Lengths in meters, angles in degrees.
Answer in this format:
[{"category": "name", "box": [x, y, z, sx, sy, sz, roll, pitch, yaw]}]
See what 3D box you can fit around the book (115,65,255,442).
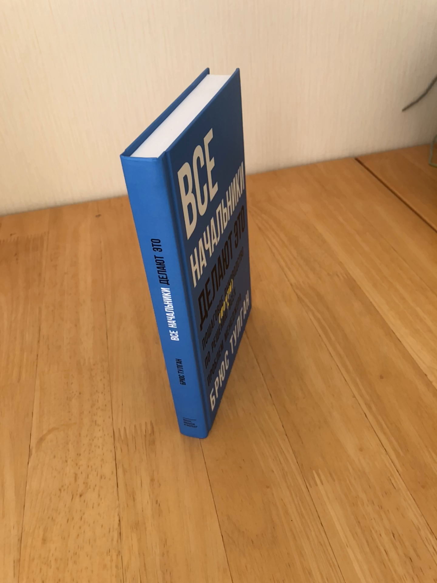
[{"category": "book", "box": [-0.006, -0.024, 0.334, 0.025, 0.207, 0.151, 6, 40, 15]}]
